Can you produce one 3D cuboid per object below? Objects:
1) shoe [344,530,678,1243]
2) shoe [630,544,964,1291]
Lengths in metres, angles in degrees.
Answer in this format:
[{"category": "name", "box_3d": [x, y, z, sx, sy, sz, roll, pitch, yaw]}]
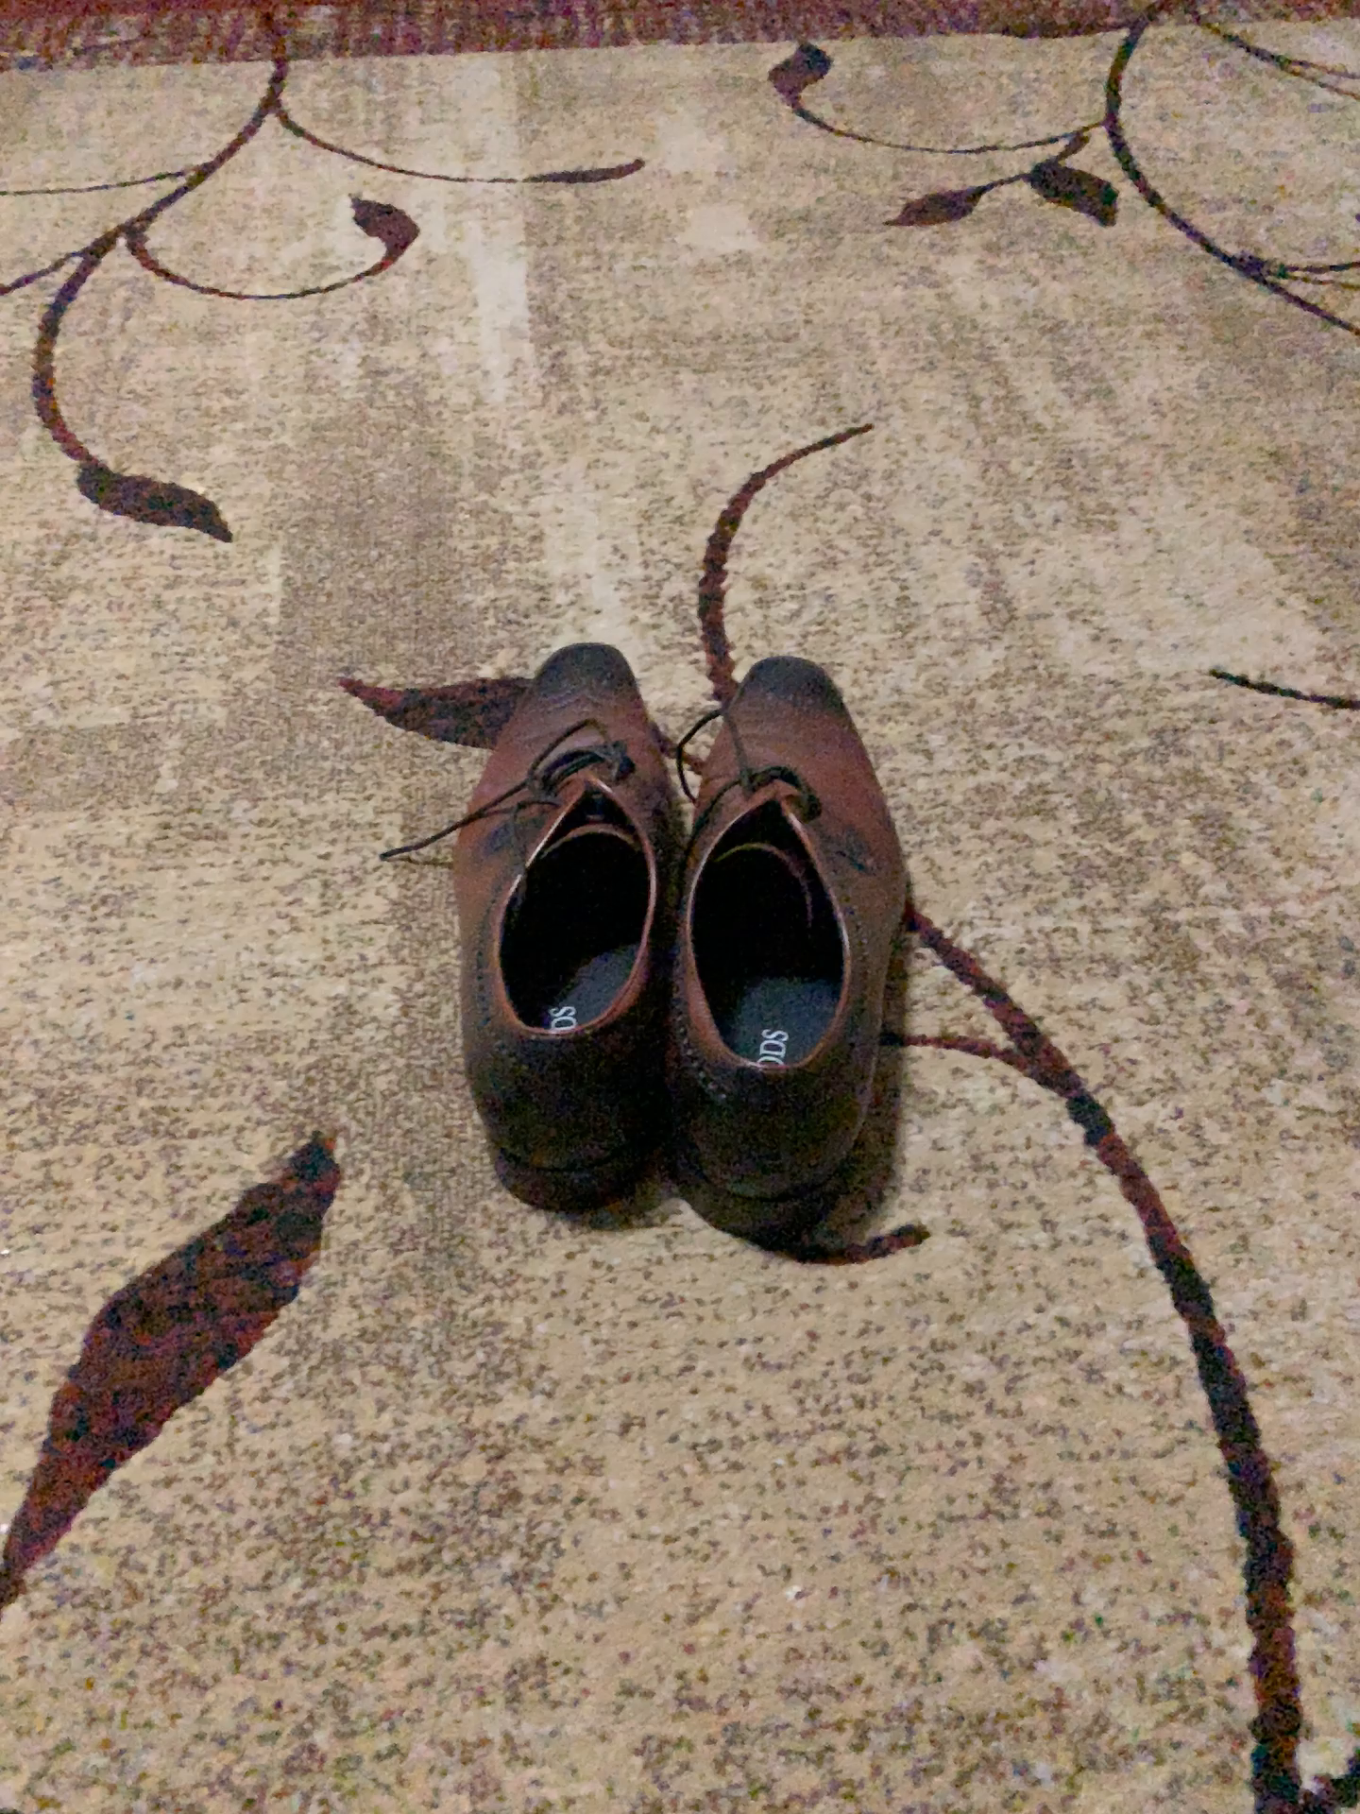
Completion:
[{"category": "shoe", "box_3d": [-0.052, -0.022, 0.568, 0.100, 0.115, 0.288, 0, 49, 0]}, {"category": "shoe", "box_3d": [0.047, -0.011, 0.556, 0.100, 0.115, 0.288, 3, 49, 3]}]
